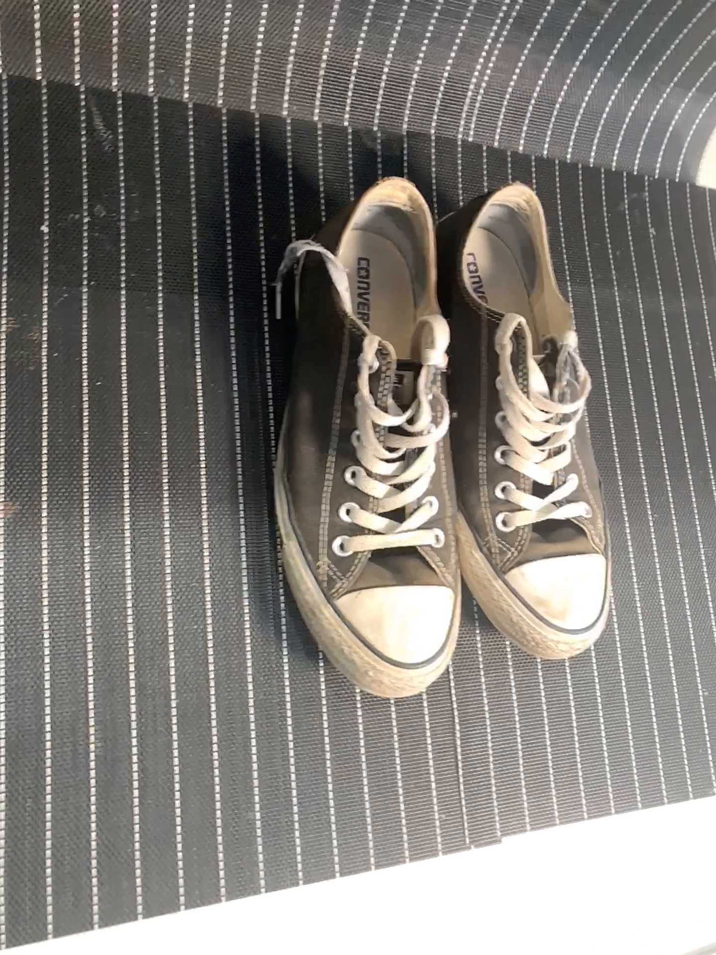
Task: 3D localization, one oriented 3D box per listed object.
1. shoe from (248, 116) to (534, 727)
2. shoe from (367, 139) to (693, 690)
[{"bbox_3d":[0.010,-0.031,0.405,0.110,0.080,0.300,-1,79,-20],"label":"shoe"},{"bbox_3d":[0.095,-0.039,0.442,0.110,0.080,0.300,-6,81,-21],"label":"shoe"}]
